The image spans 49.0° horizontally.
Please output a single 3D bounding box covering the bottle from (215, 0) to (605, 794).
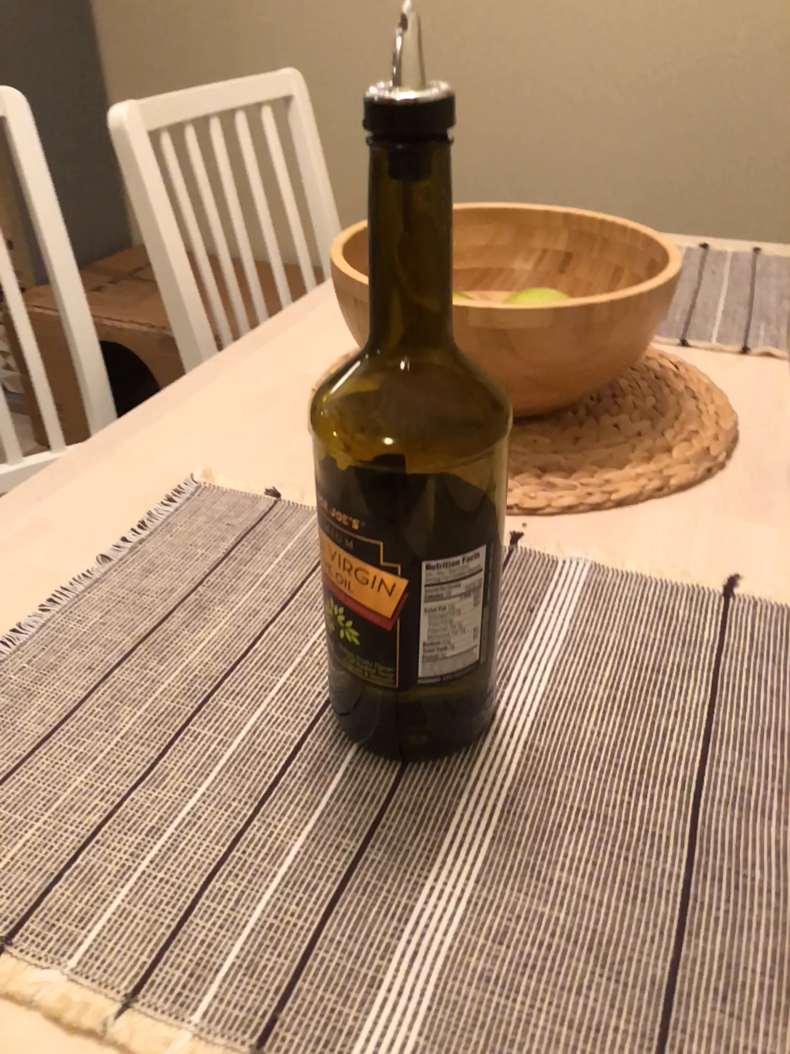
[{"bbox_3d":[0.002,-0.042,0.361,0.095,0.304,0.091,0,32,0],"label":"bottle"}]
